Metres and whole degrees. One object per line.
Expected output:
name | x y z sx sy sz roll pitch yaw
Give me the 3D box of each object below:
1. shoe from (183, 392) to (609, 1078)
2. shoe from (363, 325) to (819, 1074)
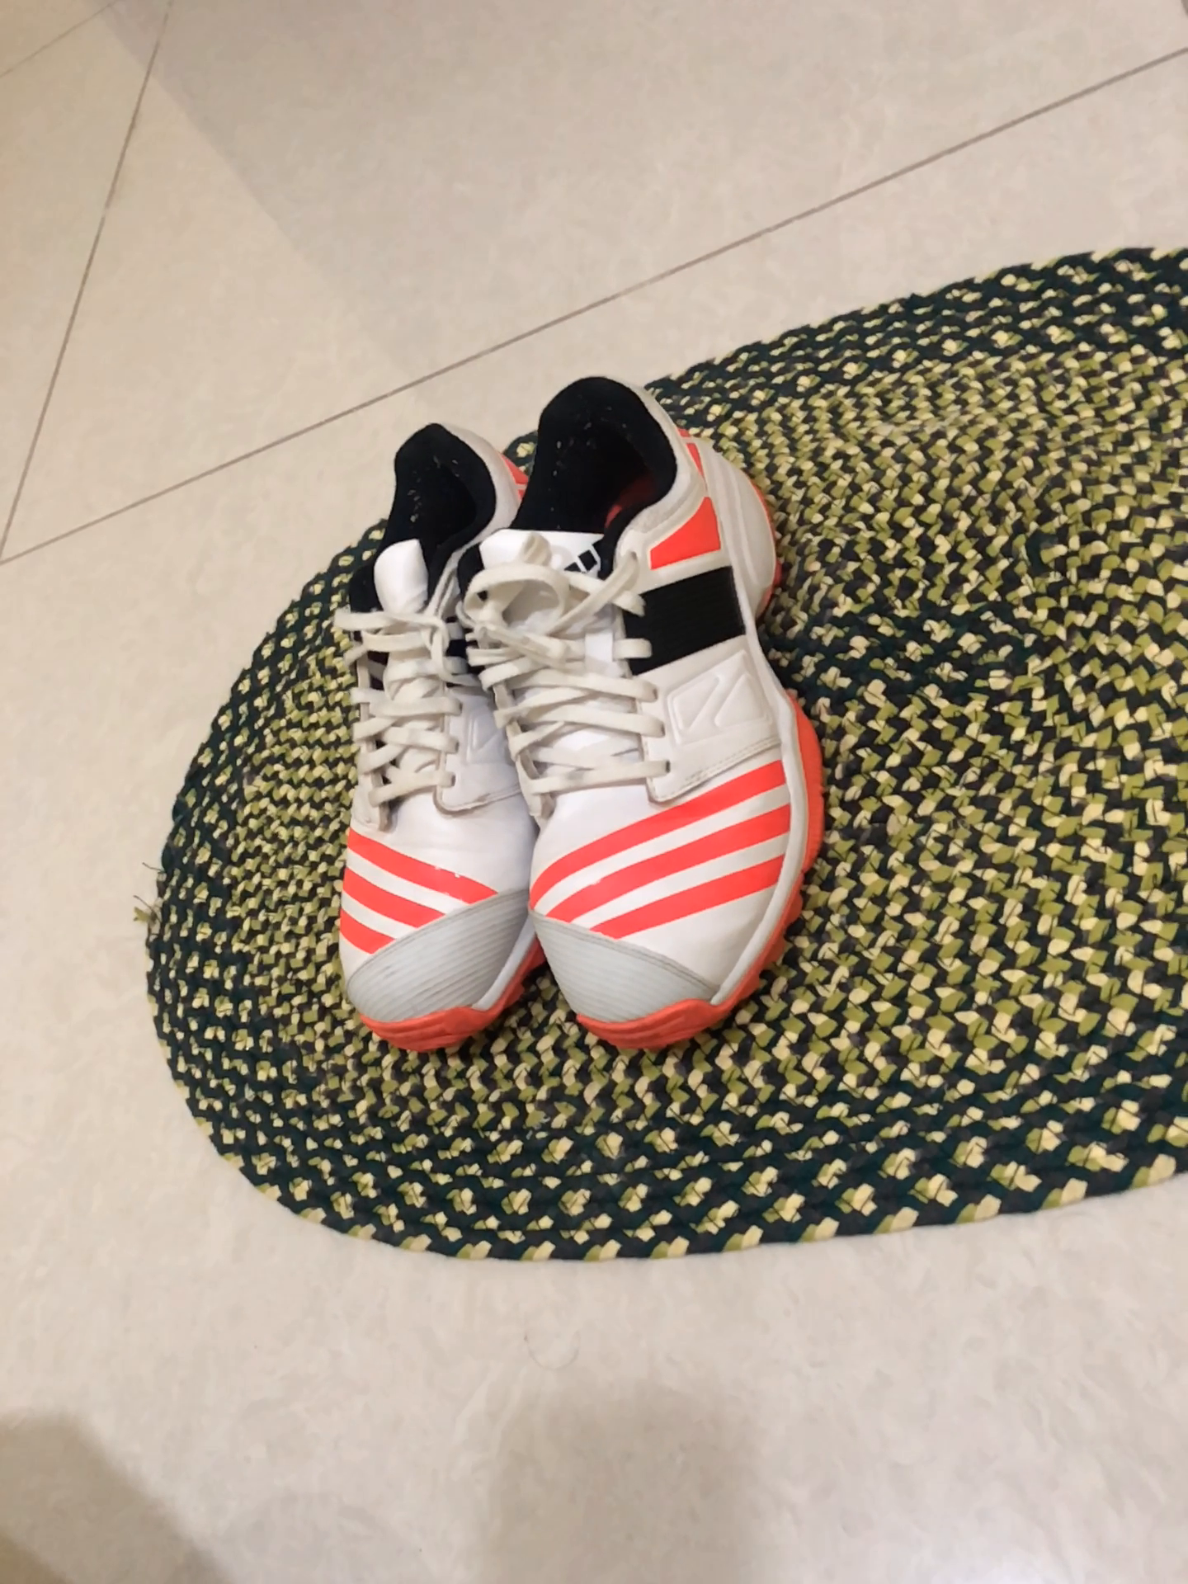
shoe | -0.073 -0.025 0.559 0.100 0.090 0.270 -9 59 28
shoe | 0.011 -0.033 0.493 0.110 0.100 0.250 -9 59 28
